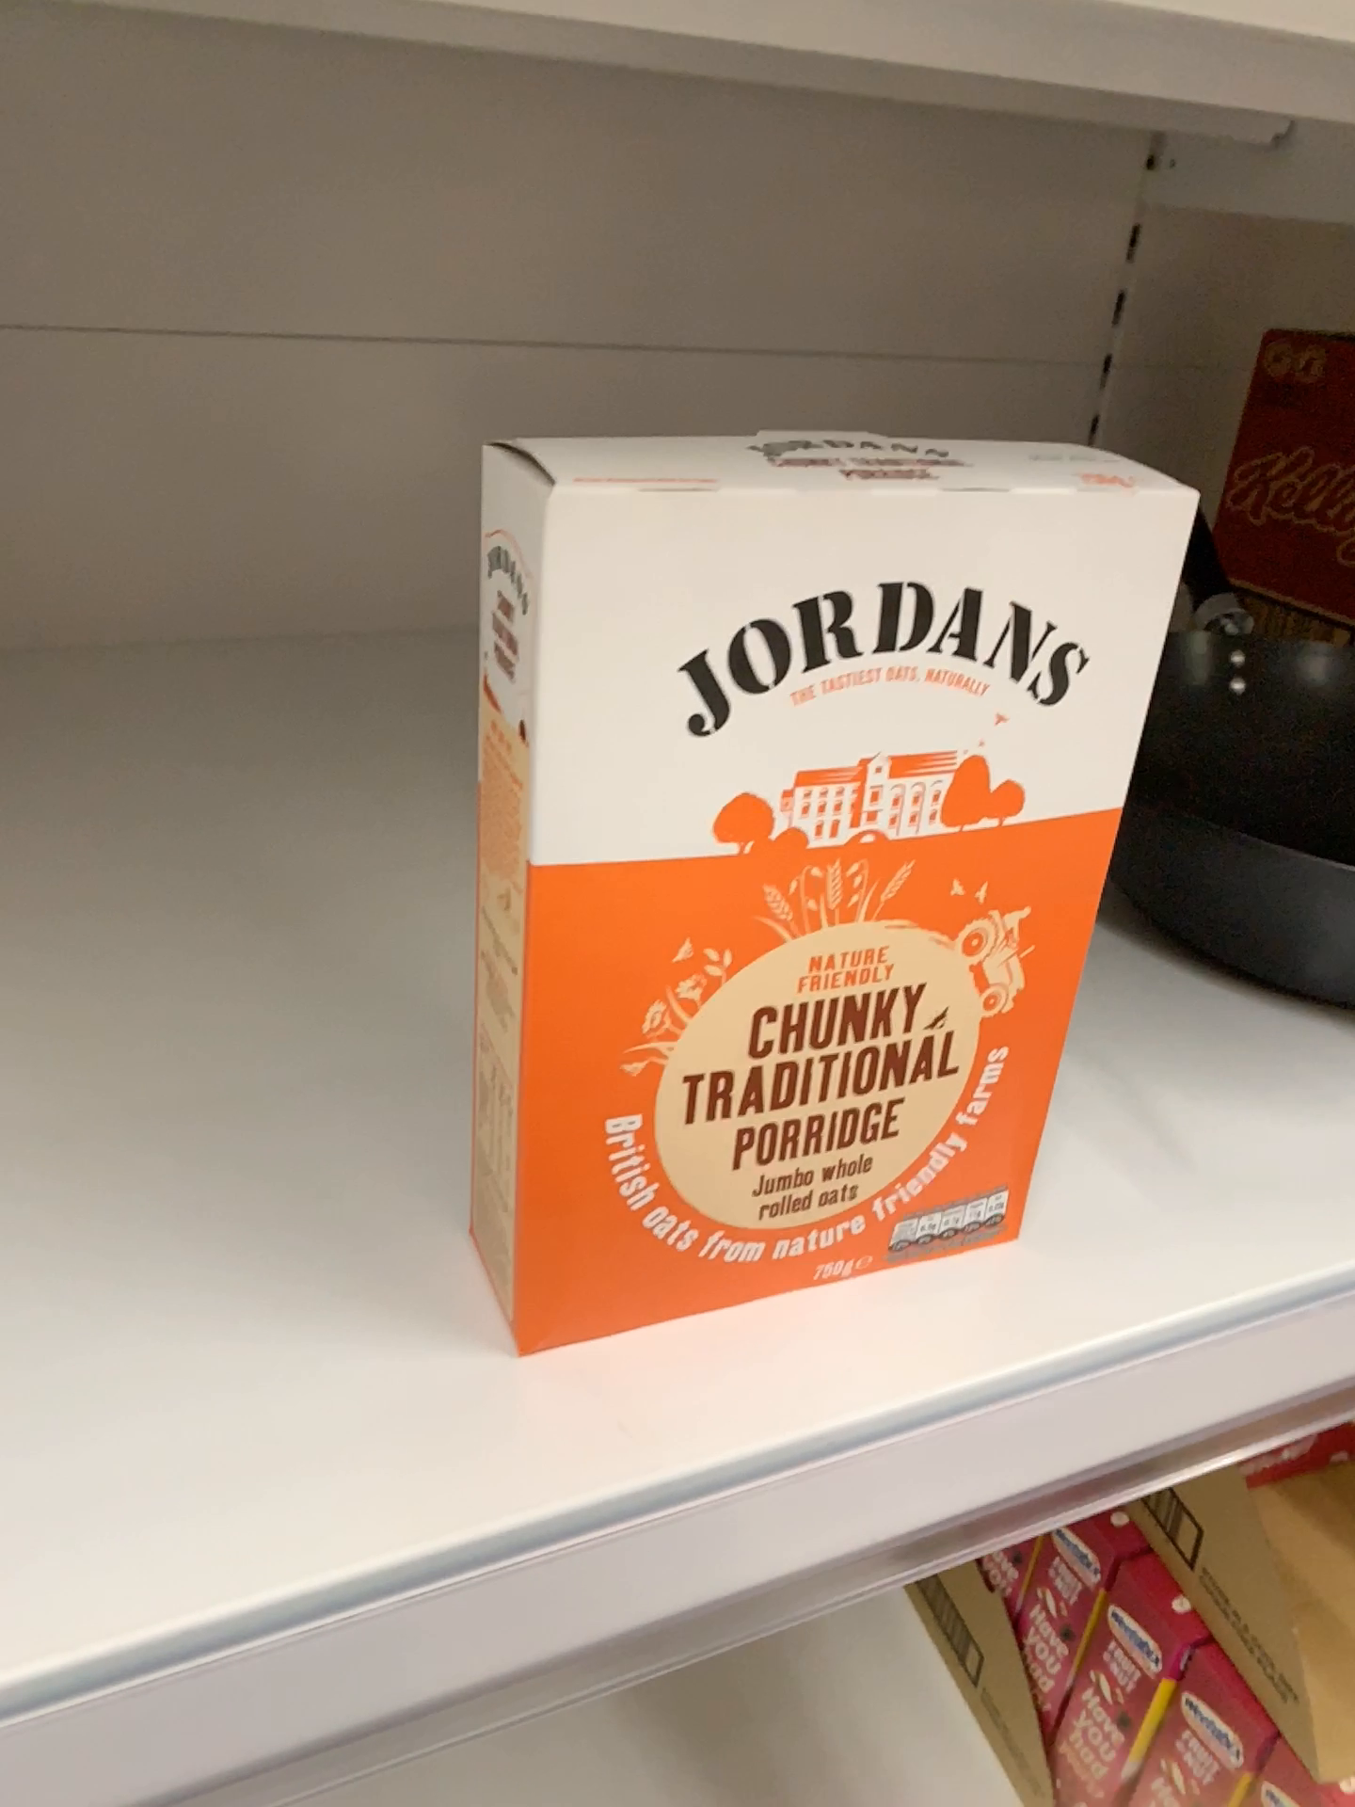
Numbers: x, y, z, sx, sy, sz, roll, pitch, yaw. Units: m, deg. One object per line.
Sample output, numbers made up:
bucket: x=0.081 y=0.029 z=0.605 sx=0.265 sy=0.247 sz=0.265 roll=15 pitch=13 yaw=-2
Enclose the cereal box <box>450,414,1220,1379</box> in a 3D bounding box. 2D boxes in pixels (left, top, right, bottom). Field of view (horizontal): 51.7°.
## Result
cereal box: x=0.034 y=0.000 z=0.420 sx=0.190 sy=0.268 sz=0.060 roll=-7 pitch=30 yaw=-22
